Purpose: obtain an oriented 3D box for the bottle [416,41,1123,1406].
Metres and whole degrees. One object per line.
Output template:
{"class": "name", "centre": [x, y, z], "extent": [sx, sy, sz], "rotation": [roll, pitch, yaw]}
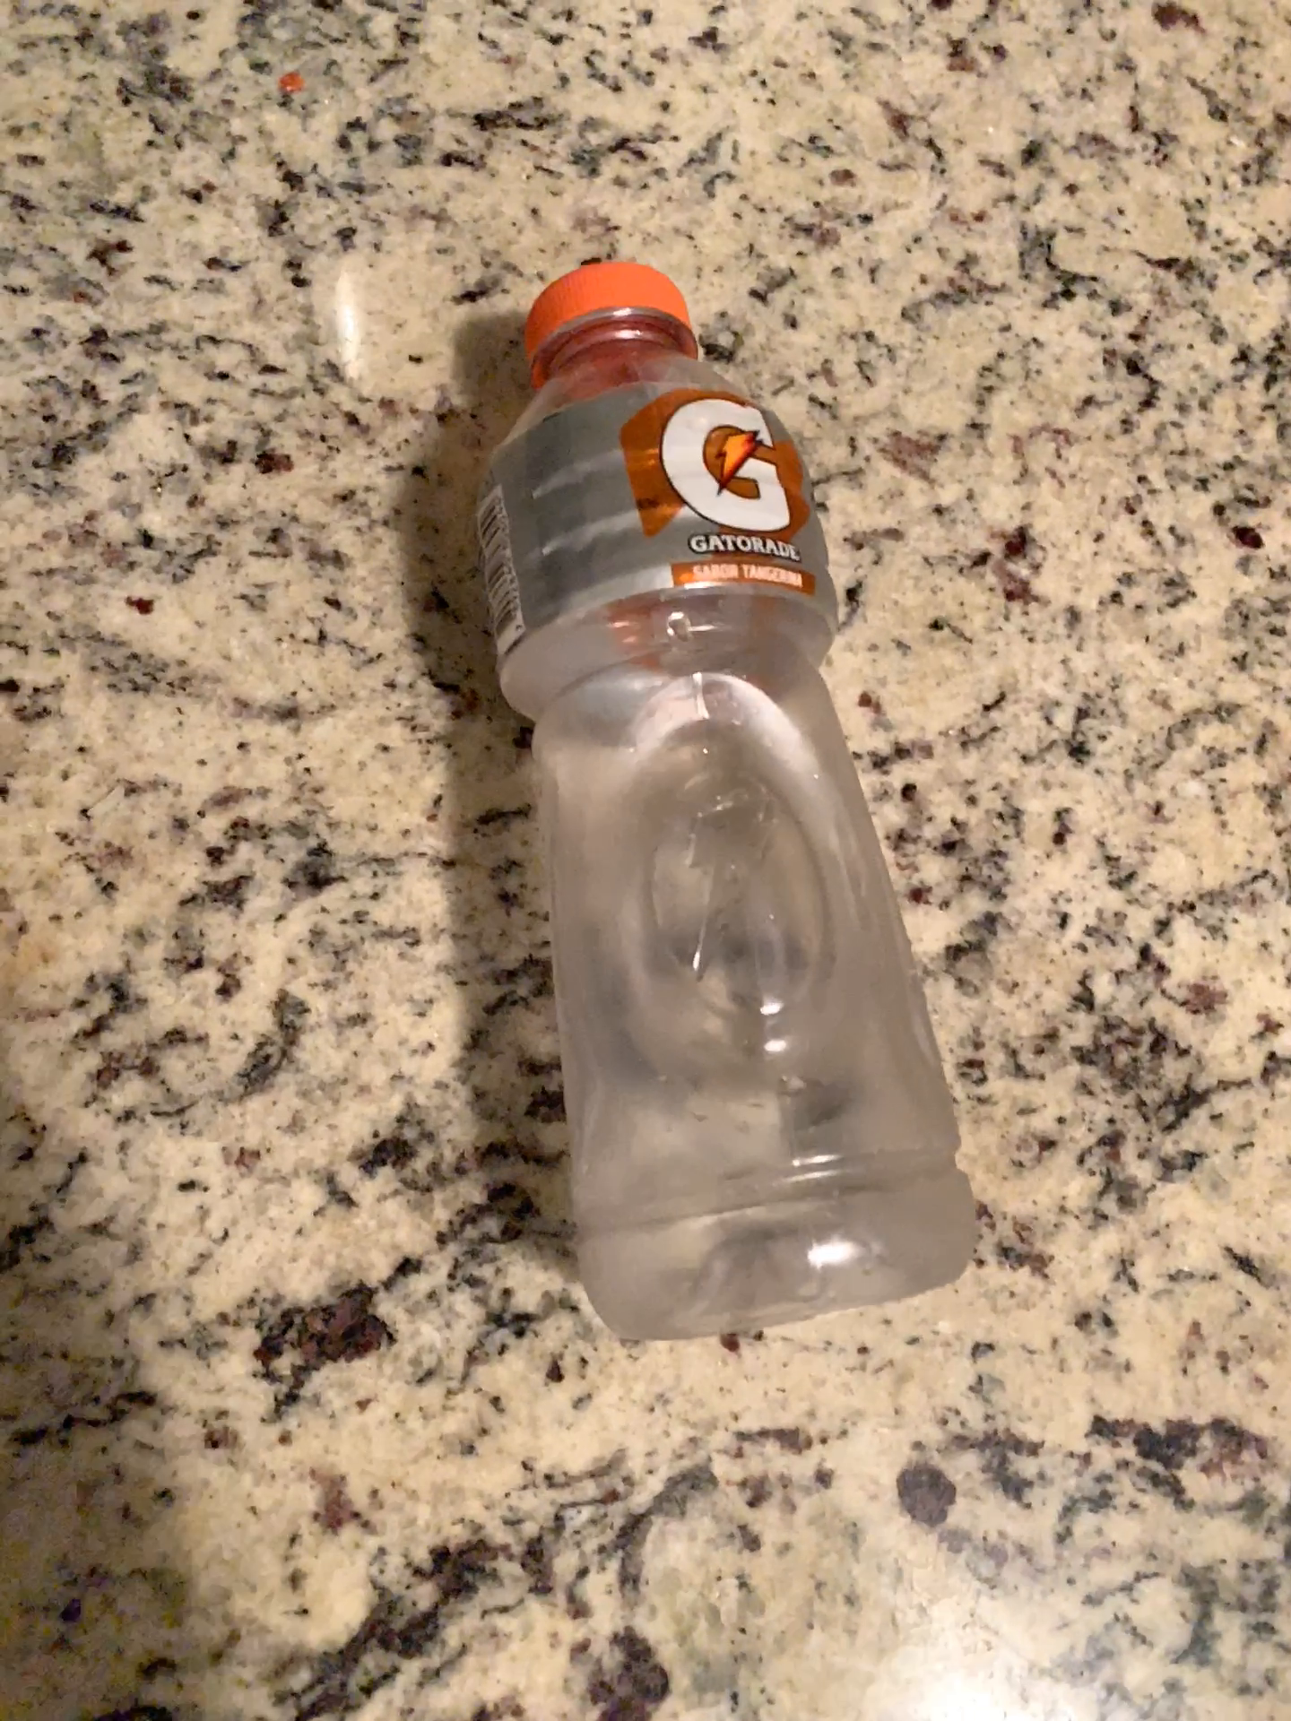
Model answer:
{"class": "bottle", "centre": [0.009, -0.029, 0.239], "extent": [0.070, 0.070, 0.220], "rotation": [-7, 75, -10]}
